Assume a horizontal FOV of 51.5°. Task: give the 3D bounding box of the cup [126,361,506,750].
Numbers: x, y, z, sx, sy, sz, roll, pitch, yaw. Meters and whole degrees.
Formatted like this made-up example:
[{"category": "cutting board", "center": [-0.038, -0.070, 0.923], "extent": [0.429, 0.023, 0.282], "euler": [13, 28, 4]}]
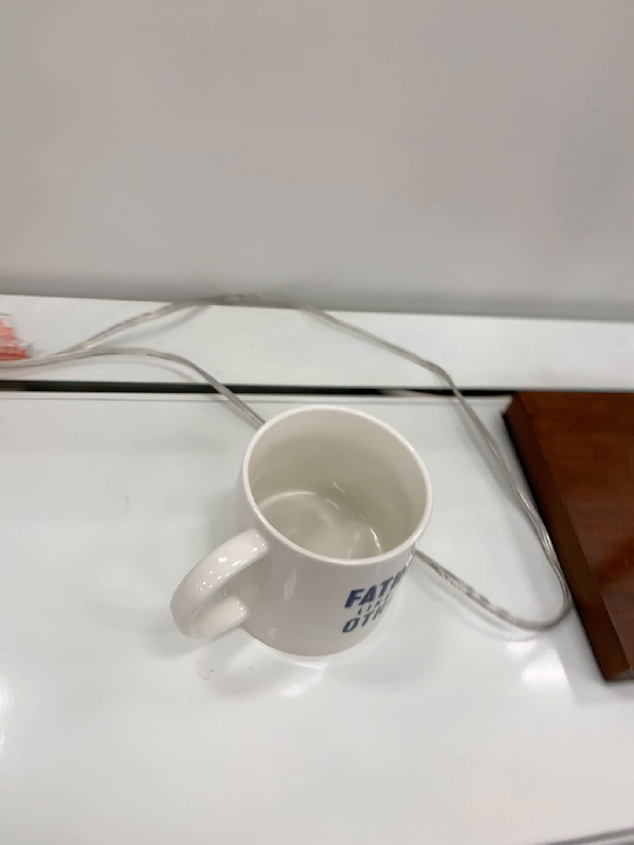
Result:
[{"category": "cup", "center": [-0.007, 0.072, 0.386], "extent": [0.160, 0.120, 0.120], "euler": [-29, 63, -31]}]
